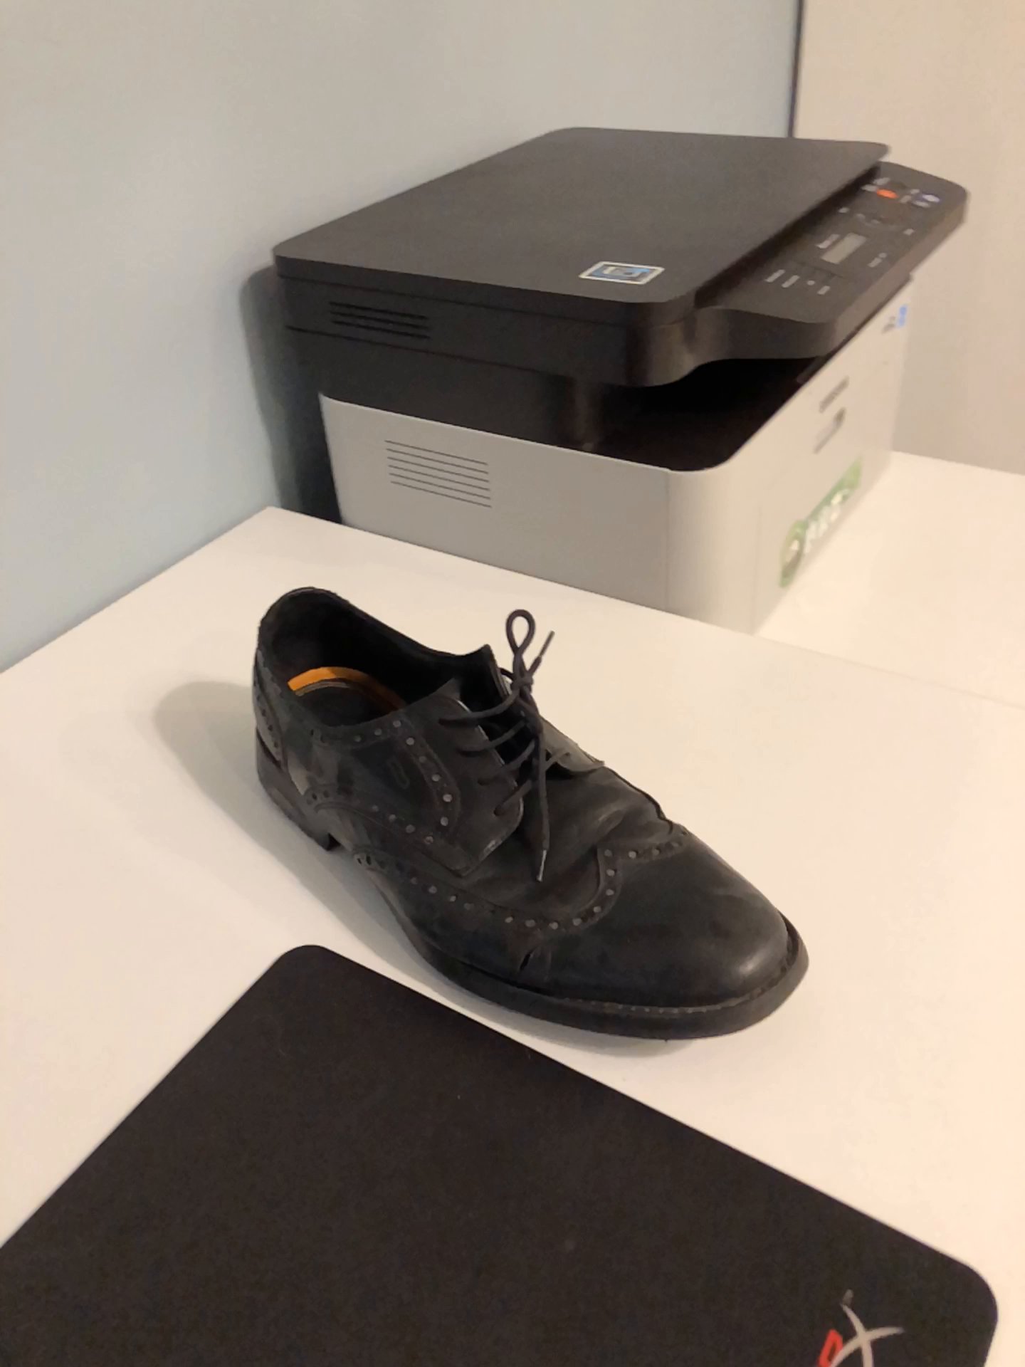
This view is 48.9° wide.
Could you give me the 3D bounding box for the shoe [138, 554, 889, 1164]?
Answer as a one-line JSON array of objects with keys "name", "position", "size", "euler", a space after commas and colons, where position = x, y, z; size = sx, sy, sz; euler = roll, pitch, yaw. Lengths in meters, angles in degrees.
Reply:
[{"name": "shoe", "position": [-0.015, 0.049, 0.490], "size": [0.313, 0.079, 0.120], "euler": [26, 46, 34]}]
